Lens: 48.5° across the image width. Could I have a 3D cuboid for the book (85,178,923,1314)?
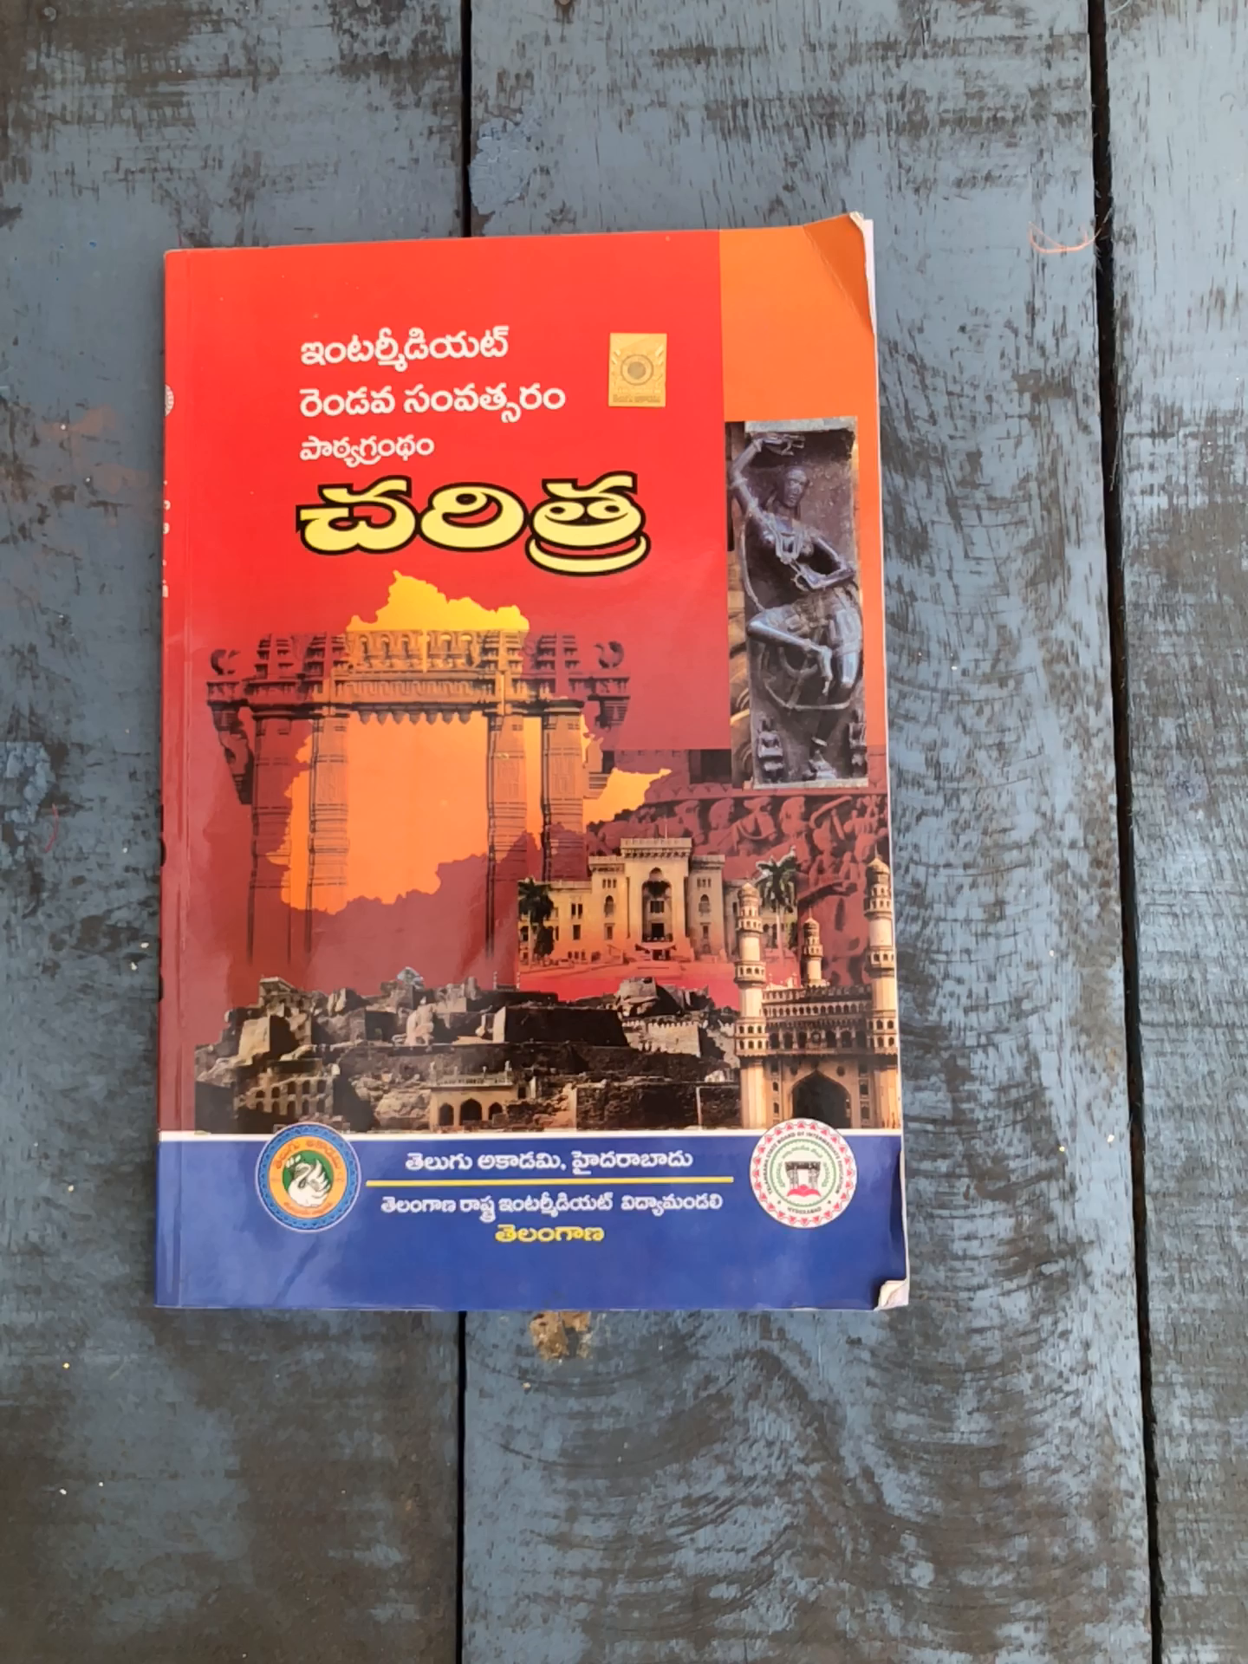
[{"bbox_3d":[-0.028,-0.023,0.348,0.190,0.040,0.270,-1,84,2],"label":"book"}]
